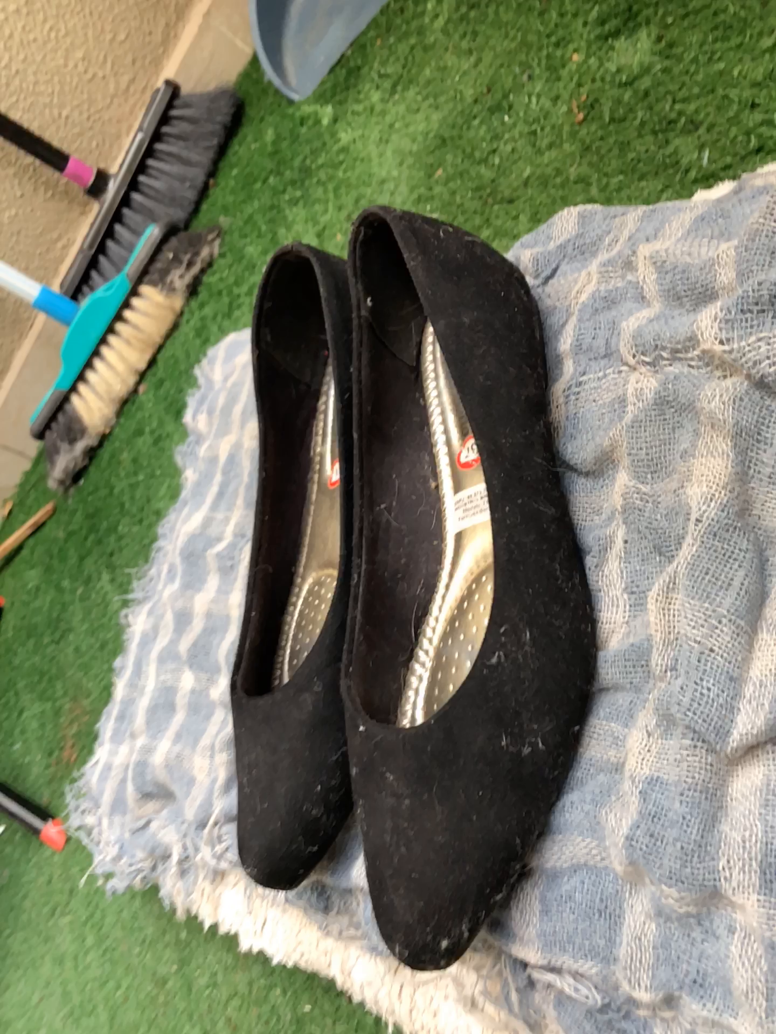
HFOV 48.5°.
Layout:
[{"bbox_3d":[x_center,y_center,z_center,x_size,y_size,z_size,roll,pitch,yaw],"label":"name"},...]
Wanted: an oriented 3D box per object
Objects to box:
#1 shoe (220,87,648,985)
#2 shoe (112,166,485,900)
[{"bbox_3d":[0.019,0.001,0.295,0.090,0.080,0.270,-21,57,44],"label":"shoe"},{"bbox_3d":[-0.029,0.005,0.358,0.090,0.080,0.270,-16,60,46],"label":"shoe"}]
